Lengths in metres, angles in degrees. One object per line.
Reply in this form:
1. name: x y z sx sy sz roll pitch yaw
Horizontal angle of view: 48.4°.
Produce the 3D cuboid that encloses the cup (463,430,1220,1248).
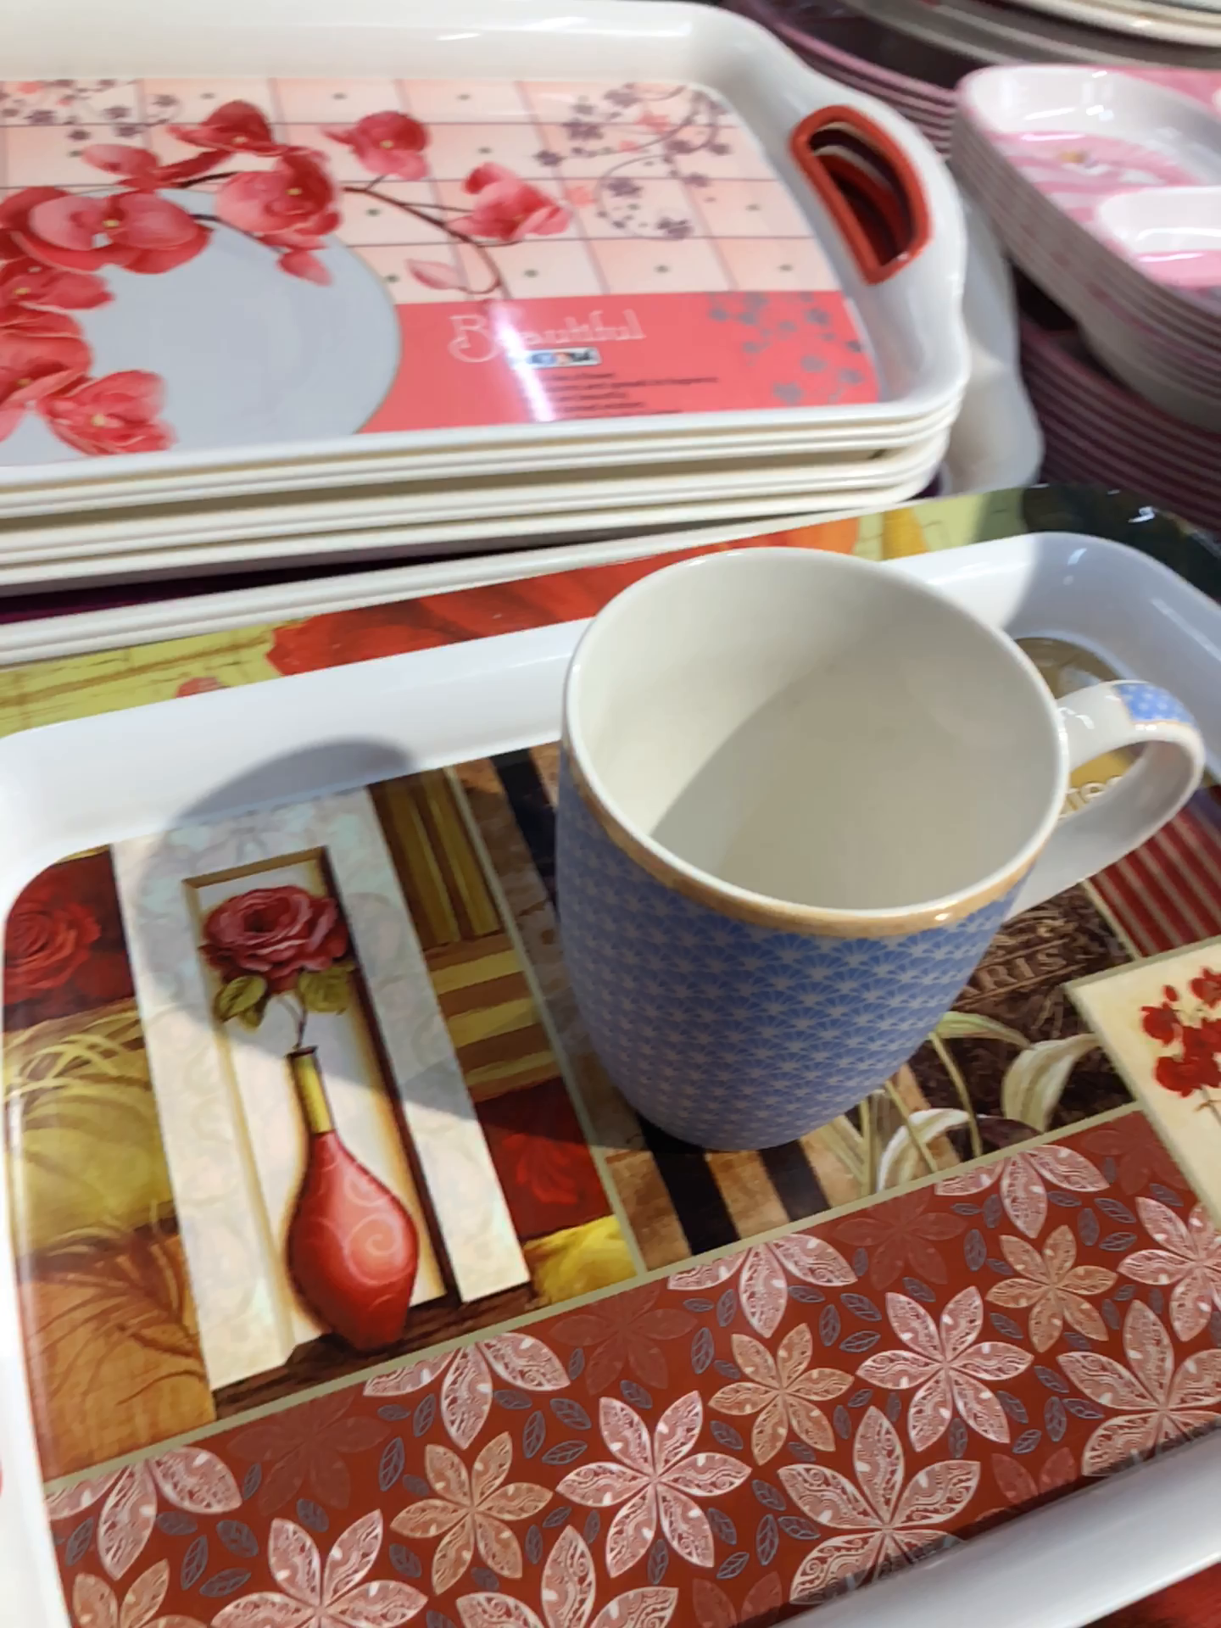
1. cup: 0.043 0.002 0.250 0.120 0.099 0.080 -14 51 -19
